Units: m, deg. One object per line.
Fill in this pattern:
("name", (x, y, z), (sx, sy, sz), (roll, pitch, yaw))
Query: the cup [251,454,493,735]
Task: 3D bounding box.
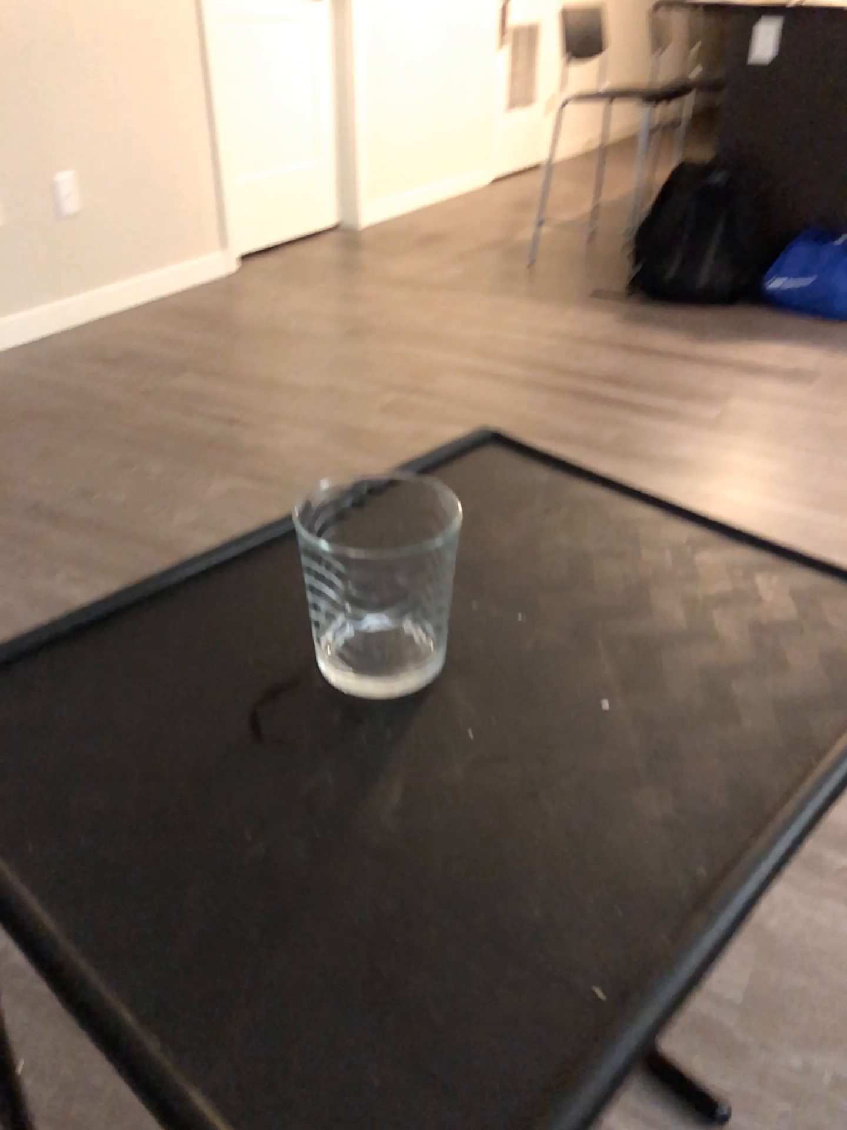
("cup", (-0.025, 0.012, 0.506), (0.090, 0.099, 0.090), (0, 31, 0))
